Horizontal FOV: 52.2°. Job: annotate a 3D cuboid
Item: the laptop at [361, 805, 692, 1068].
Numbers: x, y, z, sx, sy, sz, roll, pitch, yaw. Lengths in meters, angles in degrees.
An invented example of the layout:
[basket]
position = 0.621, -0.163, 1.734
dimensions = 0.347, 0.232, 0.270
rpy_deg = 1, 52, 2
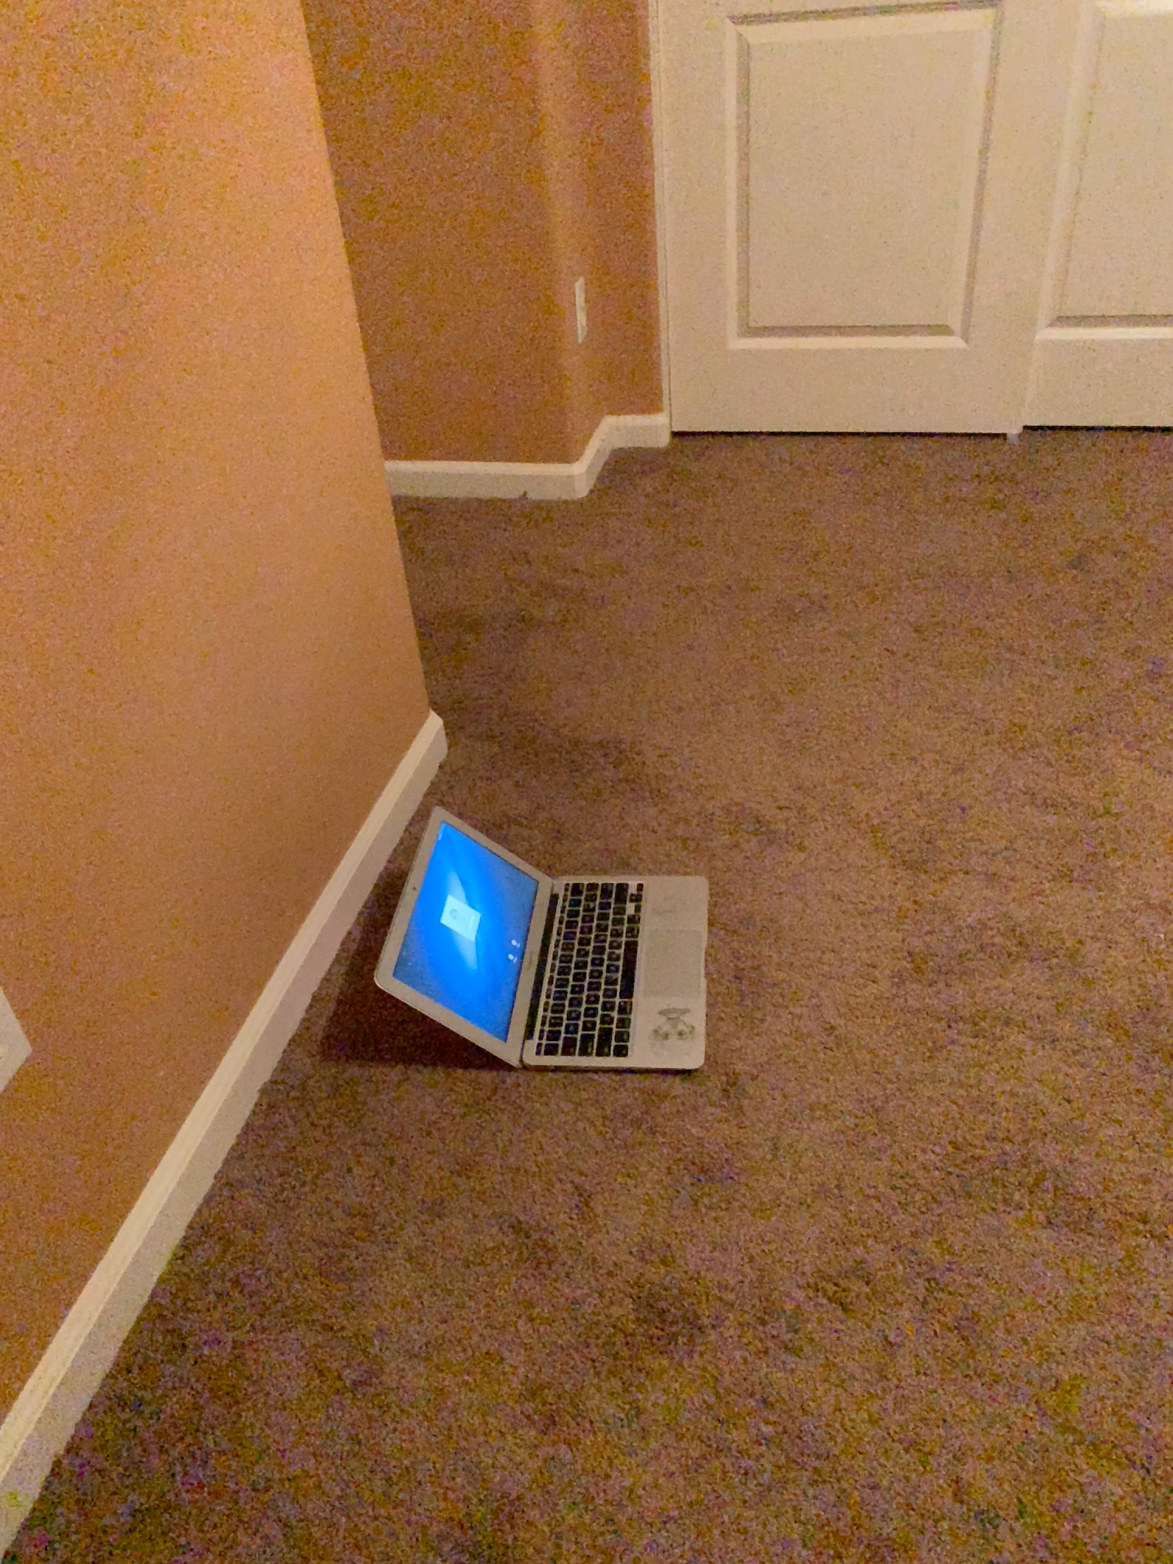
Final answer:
[laptop]
position = -0.047, 0.162, 1.326
dimensions = 0.324, 0.116, 0.300
rpy_deg = -1, 34, 7
